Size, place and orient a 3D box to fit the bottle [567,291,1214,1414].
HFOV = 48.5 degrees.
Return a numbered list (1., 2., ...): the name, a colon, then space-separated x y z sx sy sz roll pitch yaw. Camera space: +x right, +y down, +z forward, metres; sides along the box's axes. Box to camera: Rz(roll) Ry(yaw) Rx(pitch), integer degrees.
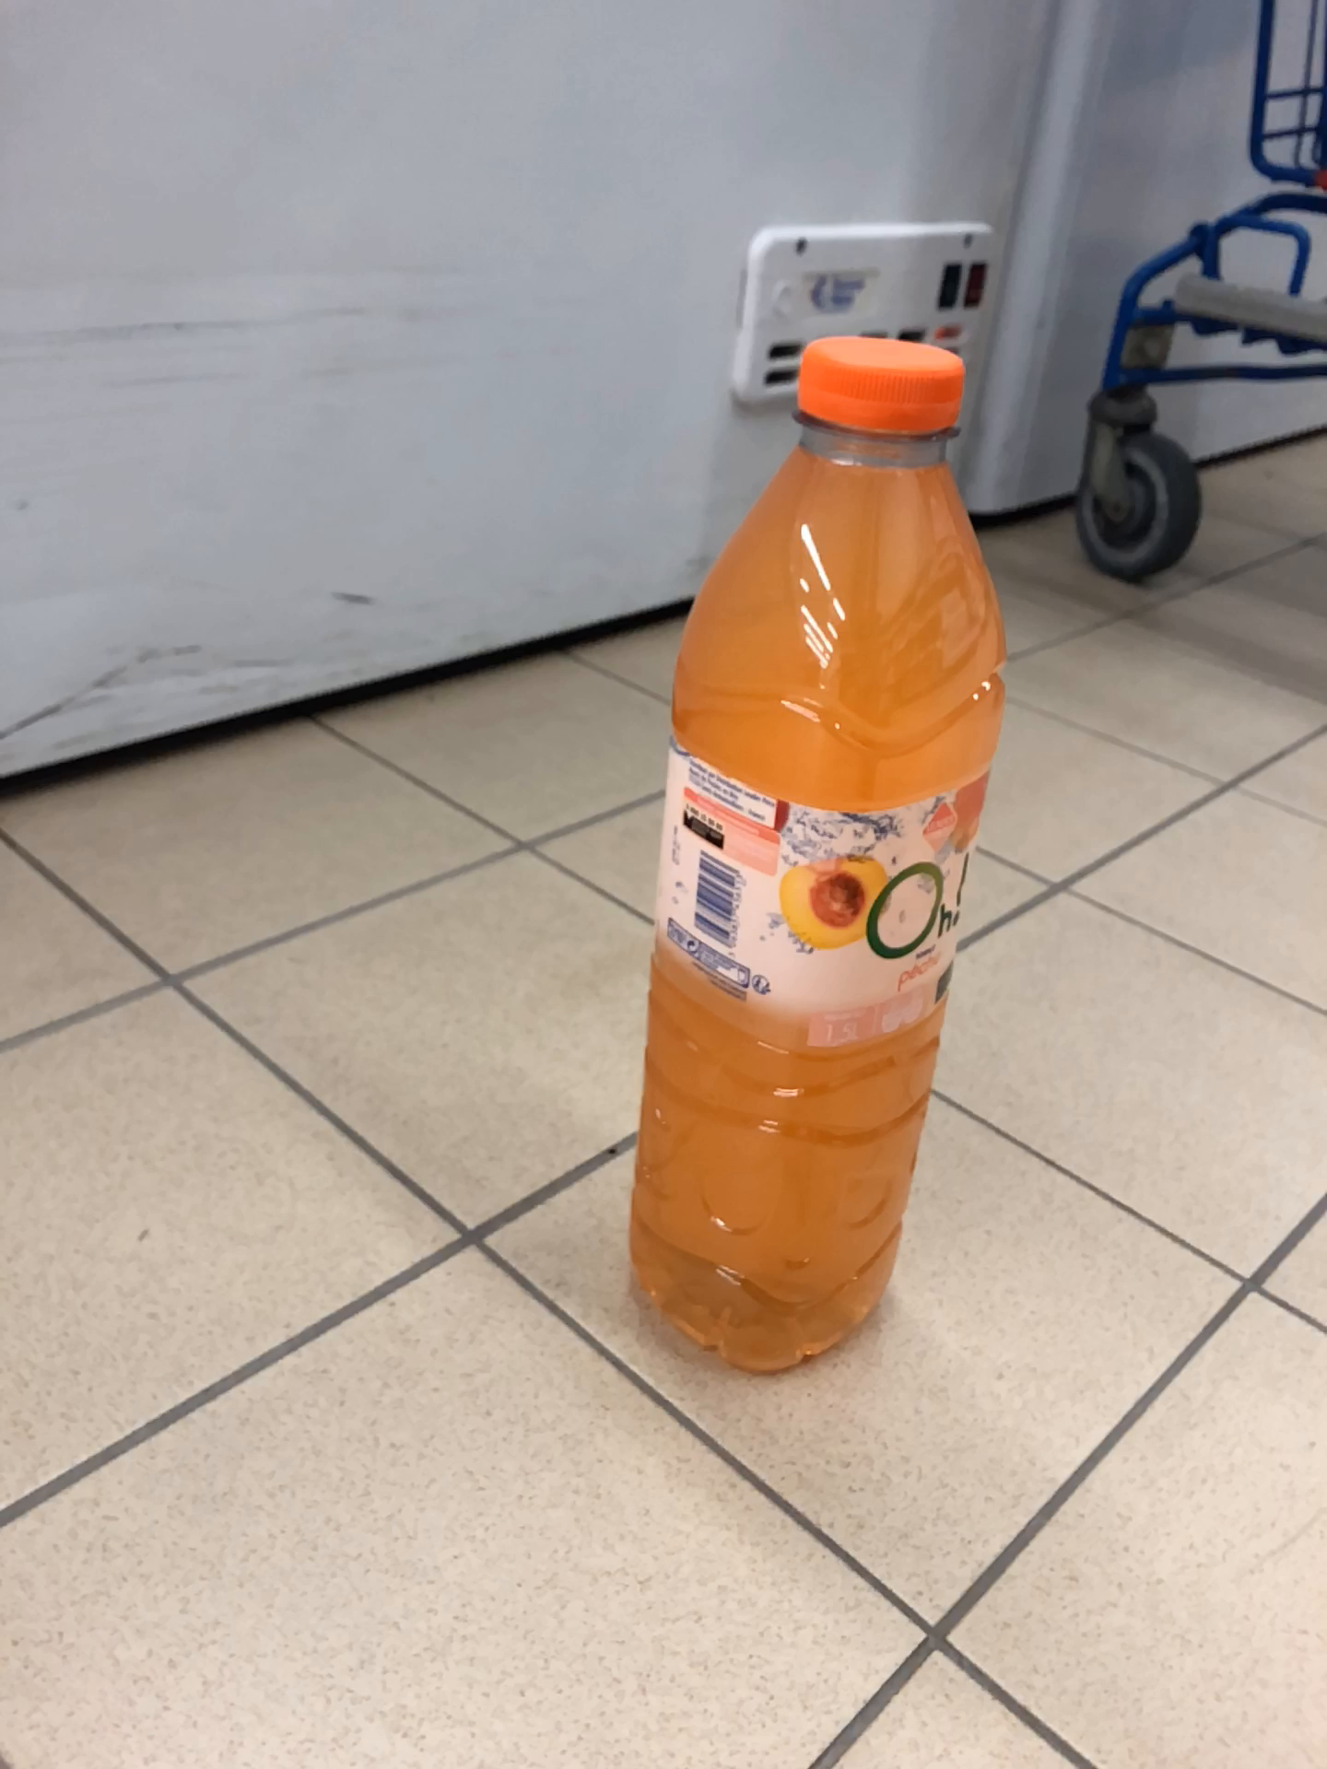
1. bottle: 0.052 -0.005 0.433 0.100 0.298 0.101 5 29 -3
